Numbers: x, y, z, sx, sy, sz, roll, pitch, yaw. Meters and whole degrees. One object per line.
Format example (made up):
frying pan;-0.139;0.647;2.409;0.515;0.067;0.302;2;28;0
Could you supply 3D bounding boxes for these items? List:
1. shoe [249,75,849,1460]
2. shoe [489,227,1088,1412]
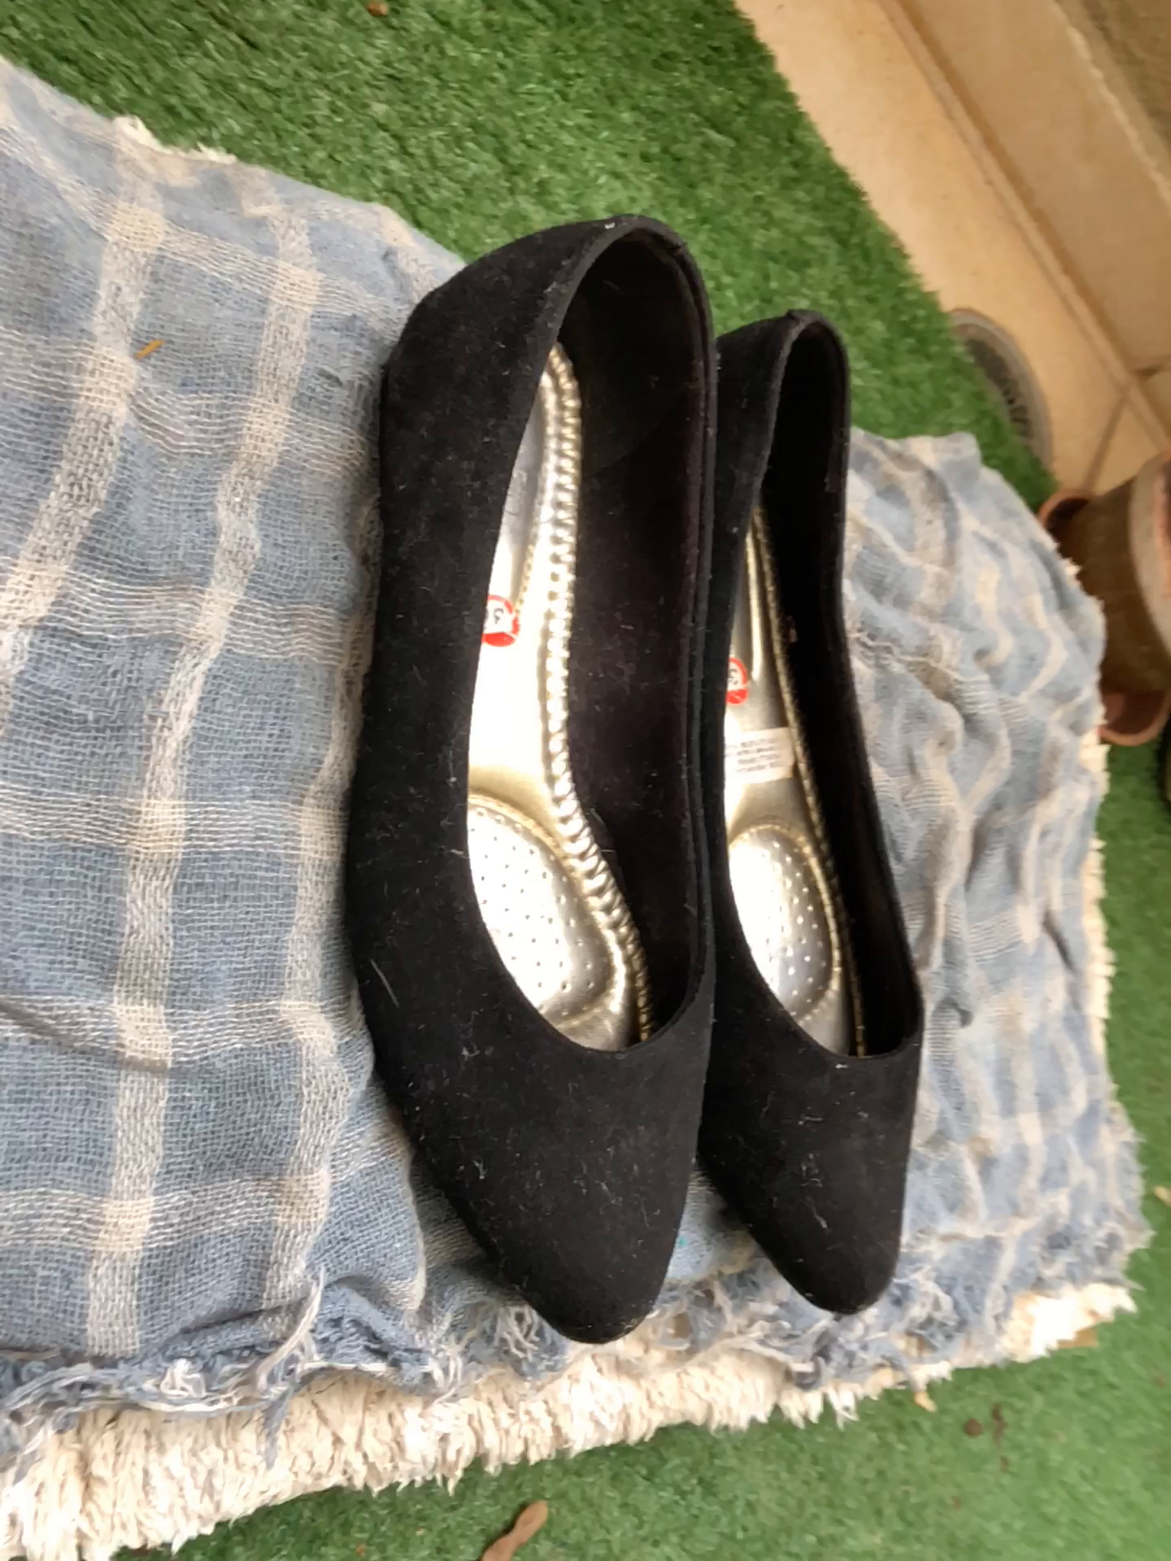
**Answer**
shoe;-0.013;-0.005;0.309;0.091;0.080;0.270;0;81;-38
shoe;0.052;0.007;0.352;0.091;0.080;0.270;-5;84;-38
